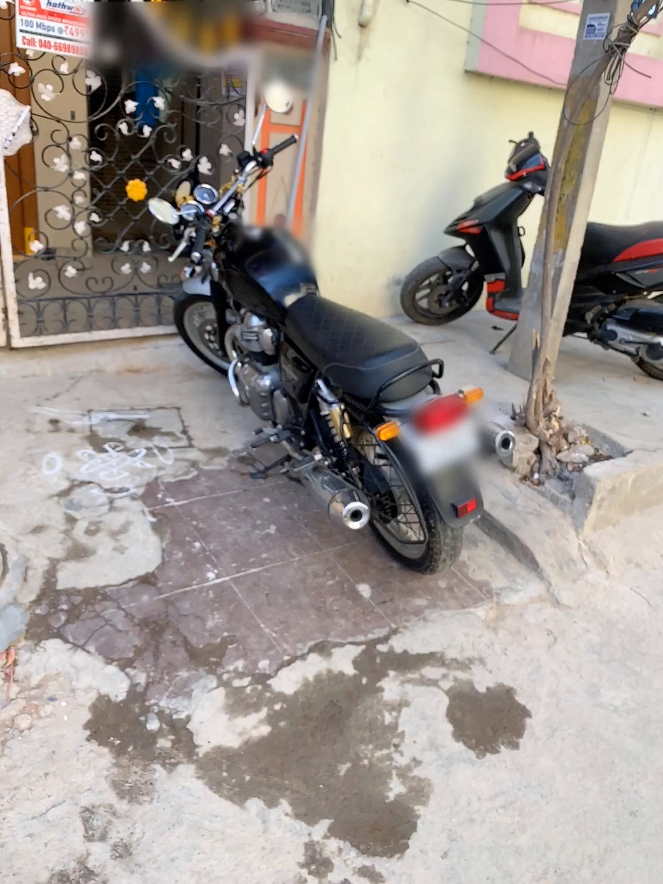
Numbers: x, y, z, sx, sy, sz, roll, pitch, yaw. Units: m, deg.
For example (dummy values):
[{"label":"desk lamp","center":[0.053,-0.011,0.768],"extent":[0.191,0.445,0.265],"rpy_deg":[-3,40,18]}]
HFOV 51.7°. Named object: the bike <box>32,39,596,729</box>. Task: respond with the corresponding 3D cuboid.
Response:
[{"label":"bike","center":[-0.290,-0.404,2.470],"extent":[0.792,1.522,1.909],"rpy_deg":[-13,35,-36]}]
